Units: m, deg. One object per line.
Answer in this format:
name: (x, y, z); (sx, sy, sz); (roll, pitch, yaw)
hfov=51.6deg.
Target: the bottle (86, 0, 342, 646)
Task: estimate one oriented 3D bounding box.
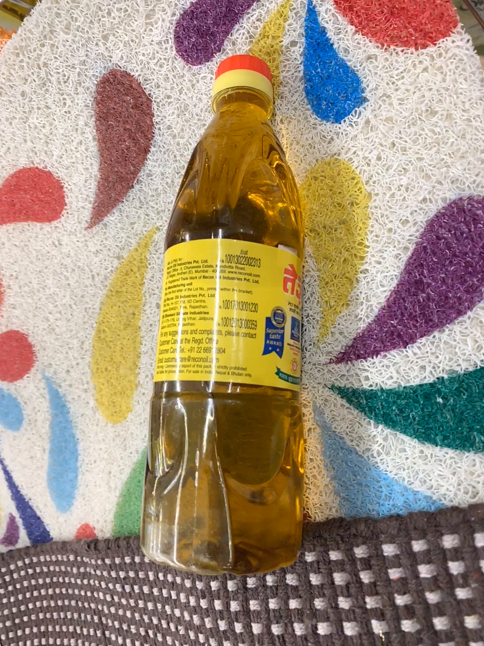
bottle: (-0.006, 0.000, 0.193); (0.070, 0.060, 0.200); (-1, 83, 29)
